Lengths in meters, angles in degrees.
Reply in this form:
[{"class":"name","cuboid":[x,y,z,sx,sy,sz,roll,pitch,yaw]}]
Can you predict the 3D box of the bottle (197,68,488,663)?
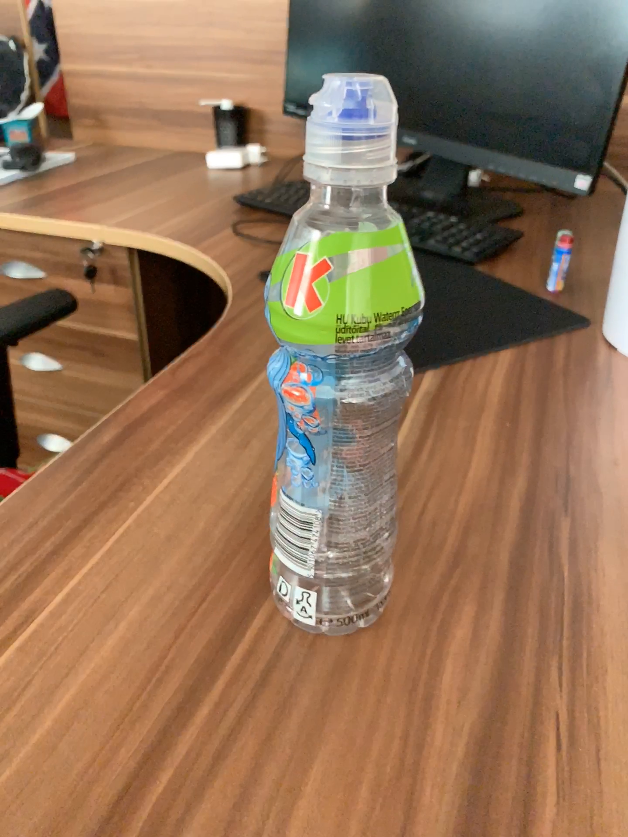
[{"class":"bottle","cuboid":[0.007,-0.014,0.285,0.070,0.239,0.070,1,31,-1]}]
